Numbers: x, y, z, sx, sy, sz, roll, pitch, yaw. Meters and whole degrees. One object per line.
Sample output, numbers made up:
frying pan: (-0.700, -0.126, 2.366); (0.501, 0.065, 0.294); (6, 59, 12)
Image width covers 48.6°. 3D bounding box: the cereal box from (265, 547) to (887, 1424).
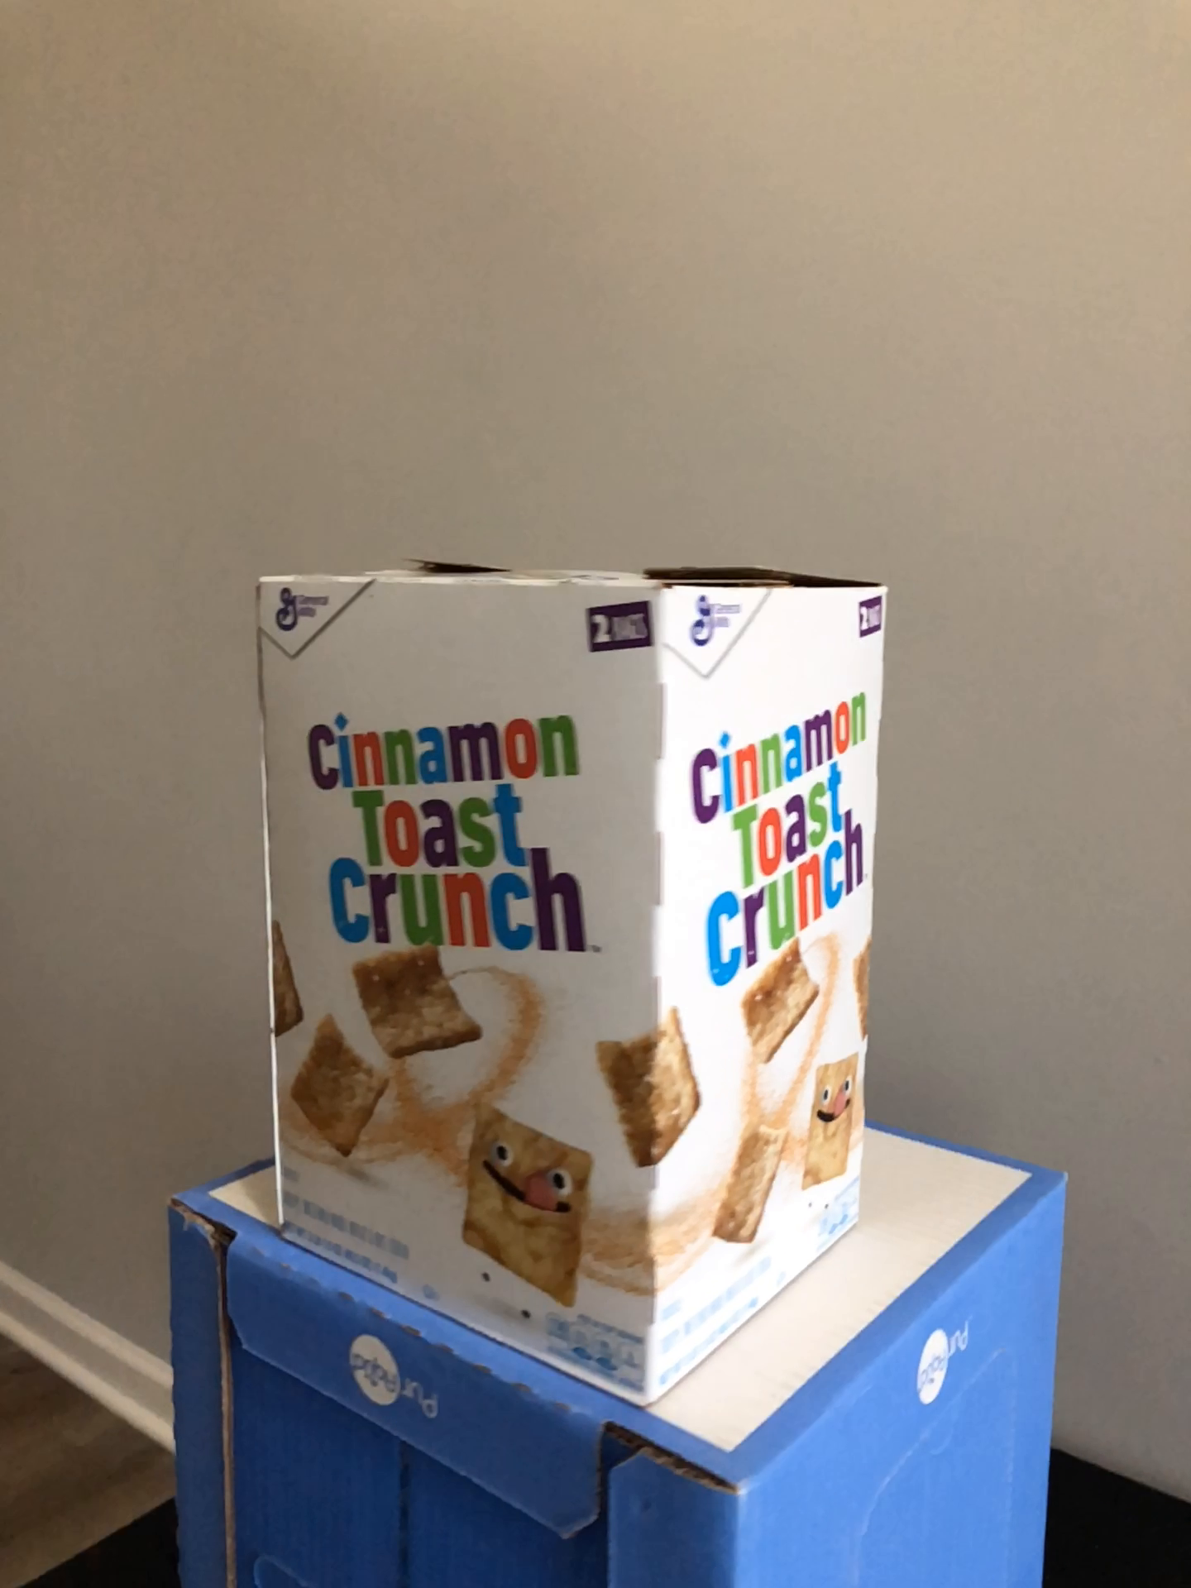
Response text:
cereal box: (-0.007, 0.053, 0.578); (0.200, 0.309, 0.170); (7, 10, 37)
